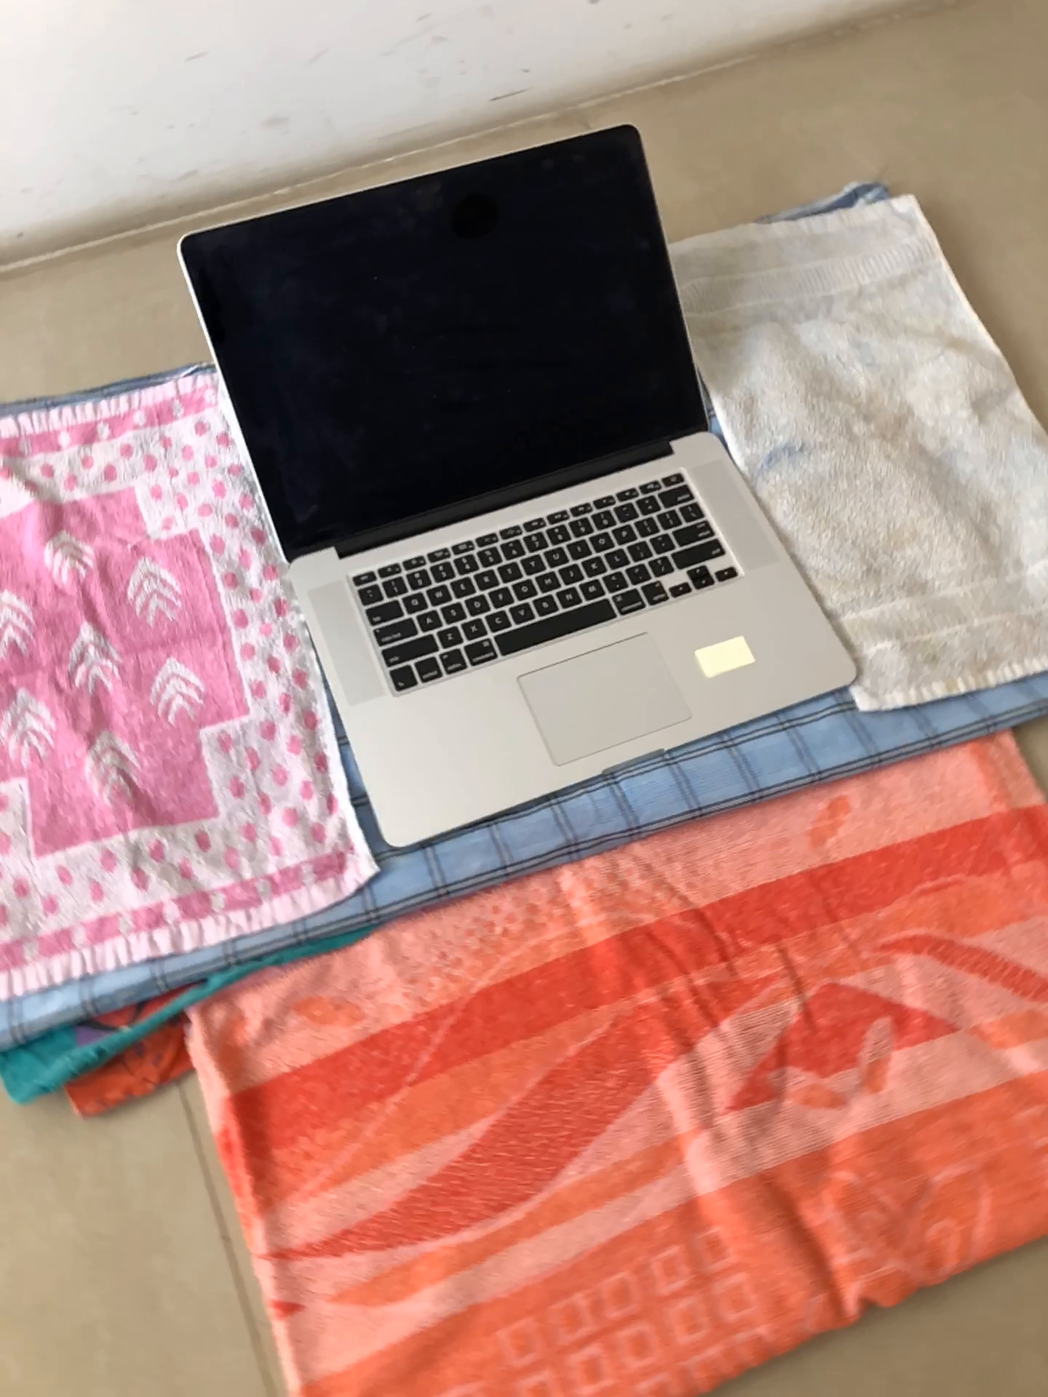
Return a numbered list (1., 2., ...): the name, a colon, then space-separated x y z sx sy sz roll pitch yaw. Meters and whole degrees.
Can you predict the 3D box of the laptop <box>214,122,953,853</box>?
1. laptop: 0.017 -0.161 0.801 0.343 0.144 0.414 -19 66 -9
